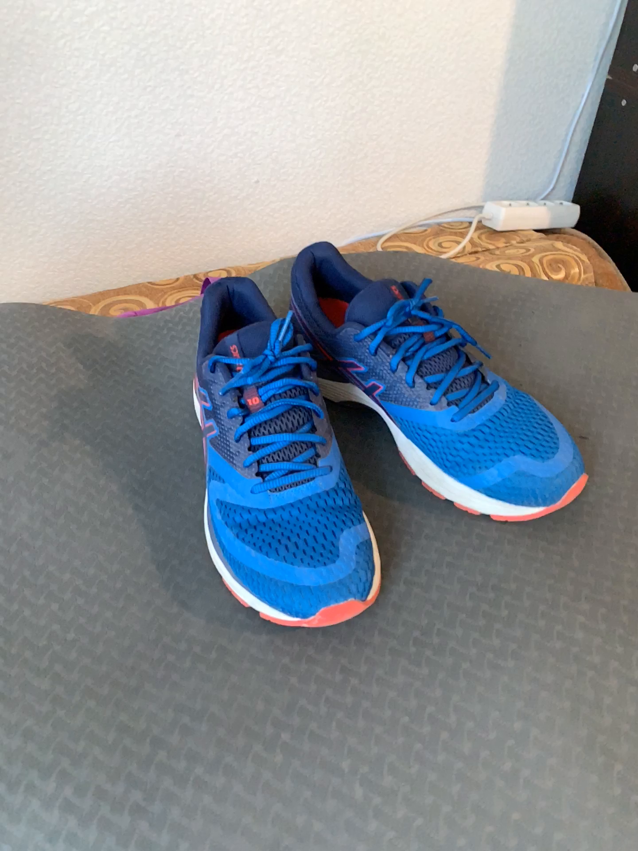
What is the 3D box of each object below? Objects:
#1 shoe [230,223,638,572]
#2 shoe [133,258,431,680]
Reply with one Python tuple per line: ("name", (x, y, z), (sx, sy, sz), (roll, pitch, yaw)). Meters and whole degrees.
("shoe", (0.071, -0.042, 0.530), (0.120, 0.109, 0.301), (-32, 52, -29))
("shoe", (-0.045, 0.007, 0.487), (0.120, 0.109, 0.301), (-14, 46, -14))
